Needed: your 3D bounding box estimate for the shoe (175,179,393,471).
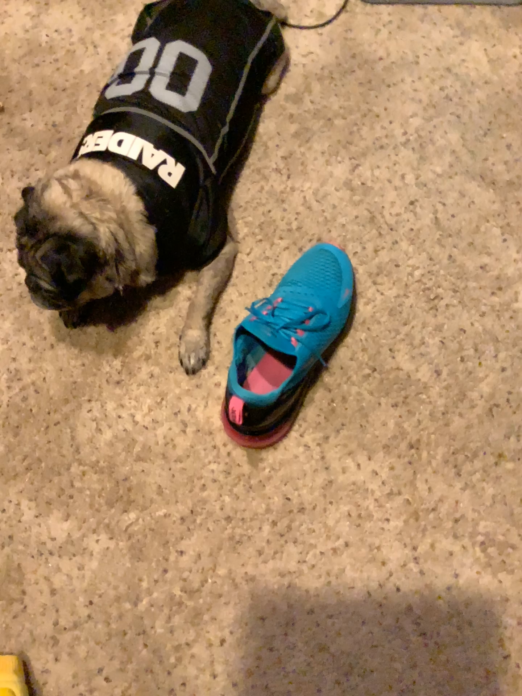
[{"bbox_3d":[0.041,-0.029,0.763,0.130,0.140,0.340,24,76,14],"label":"shoe"}]
